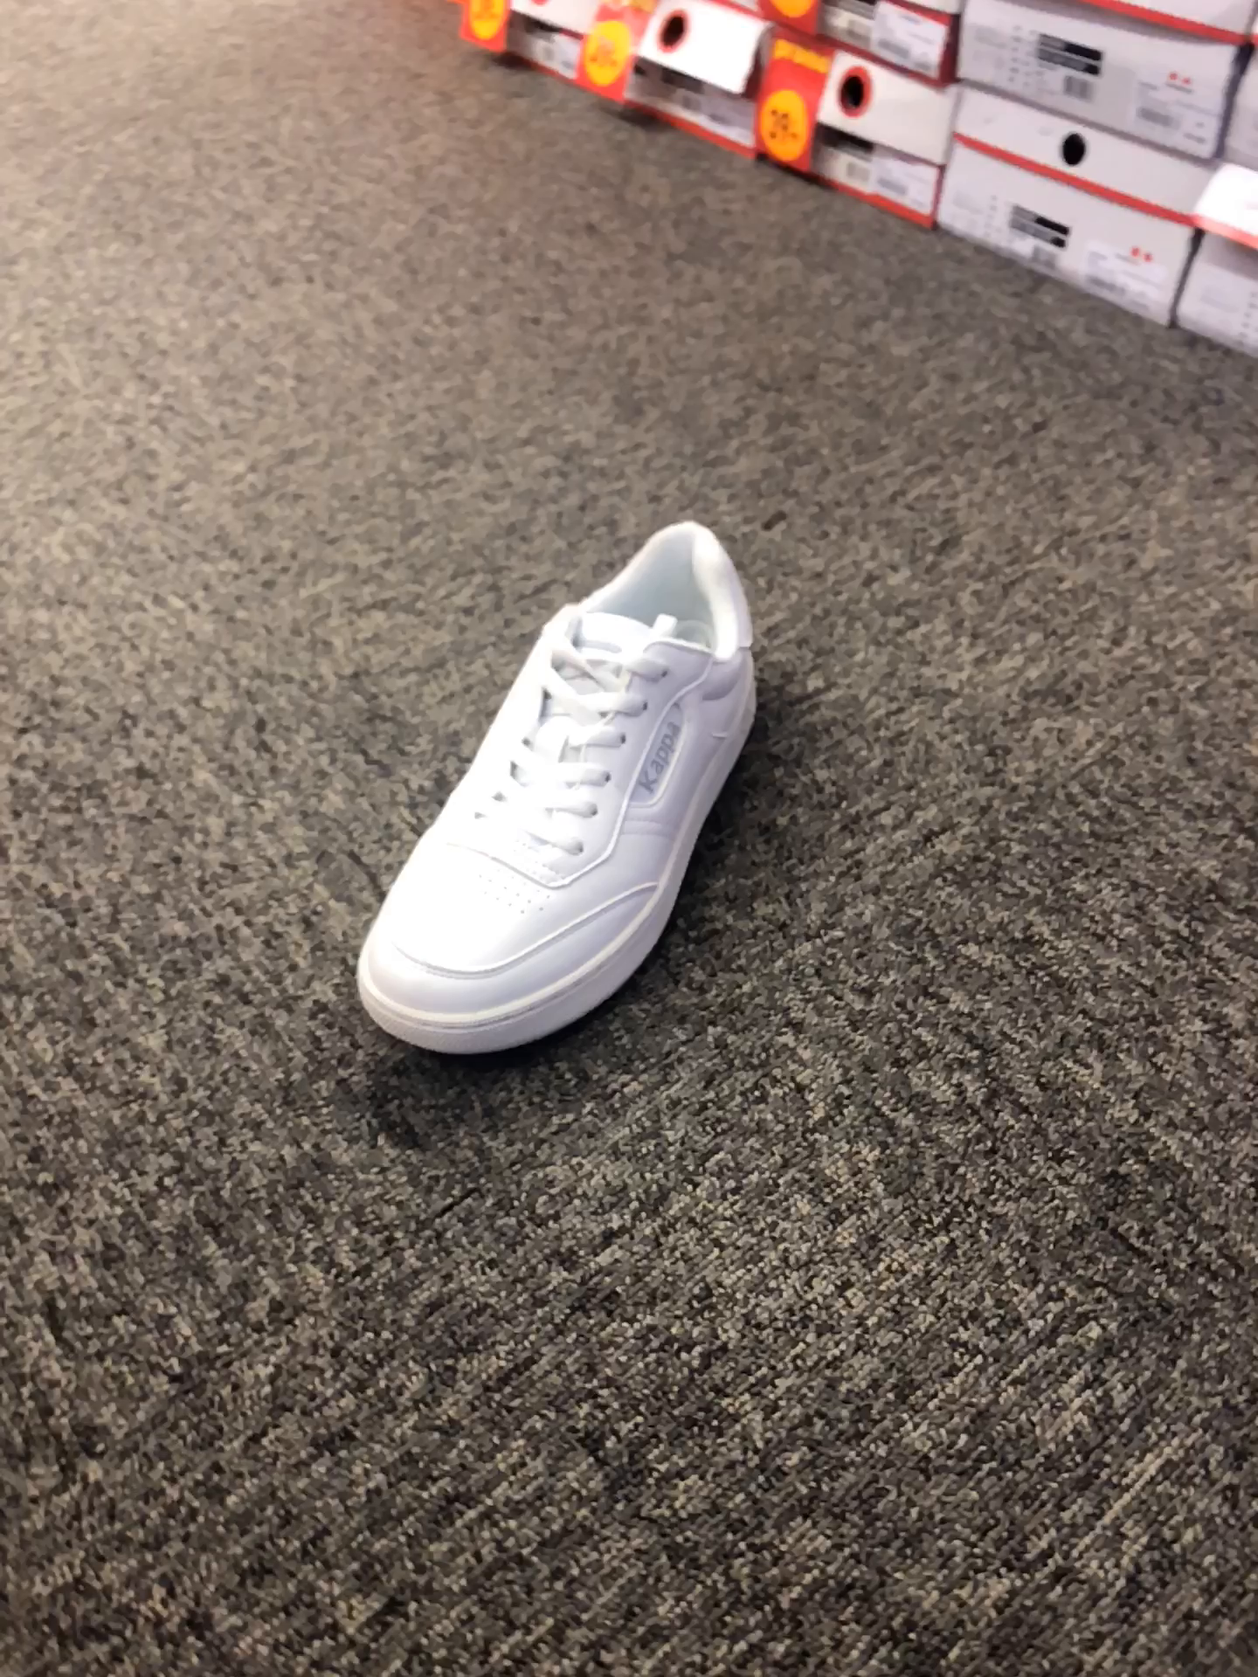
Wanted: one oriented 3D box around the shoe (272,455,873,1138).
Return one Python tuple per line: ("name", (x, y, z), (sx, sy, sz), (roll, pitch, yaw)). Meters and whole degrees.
("shoe", (-0.006, -0.032, 0.526), (0.100, 0.089, 0.262), (20, 49, 18))
